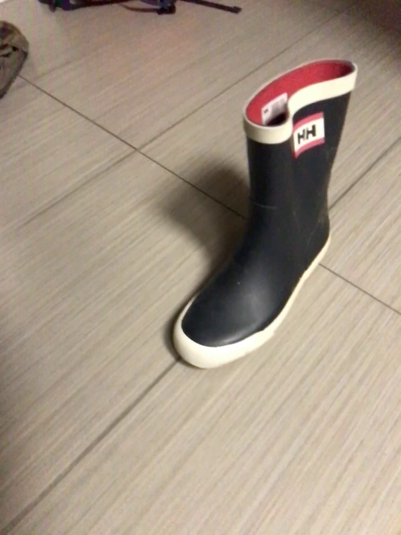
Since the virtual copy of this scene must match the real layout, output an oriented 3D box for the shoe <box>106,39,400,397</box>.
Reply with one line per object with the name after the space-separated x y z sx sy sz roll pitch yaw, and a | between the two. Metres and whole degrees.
0.069 -0.049 0.433 0.102 0.217 0.280 31 61 27 | shoe
